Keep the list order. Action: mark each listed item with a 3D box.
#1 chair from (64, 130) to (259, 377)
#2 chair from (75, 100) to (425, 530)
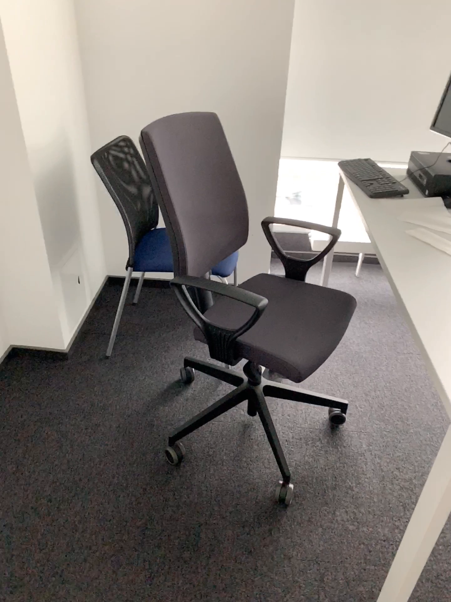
[{"bbox_3d":[-0.210,-0.235,2.014,0.610,0.805,0.674,6,32,5],"label":"chair"},{"bbox_3d":[0.093,-0.018,1.467,0.681,1.004,0.693,18,35,24],"label":"chair"}]
